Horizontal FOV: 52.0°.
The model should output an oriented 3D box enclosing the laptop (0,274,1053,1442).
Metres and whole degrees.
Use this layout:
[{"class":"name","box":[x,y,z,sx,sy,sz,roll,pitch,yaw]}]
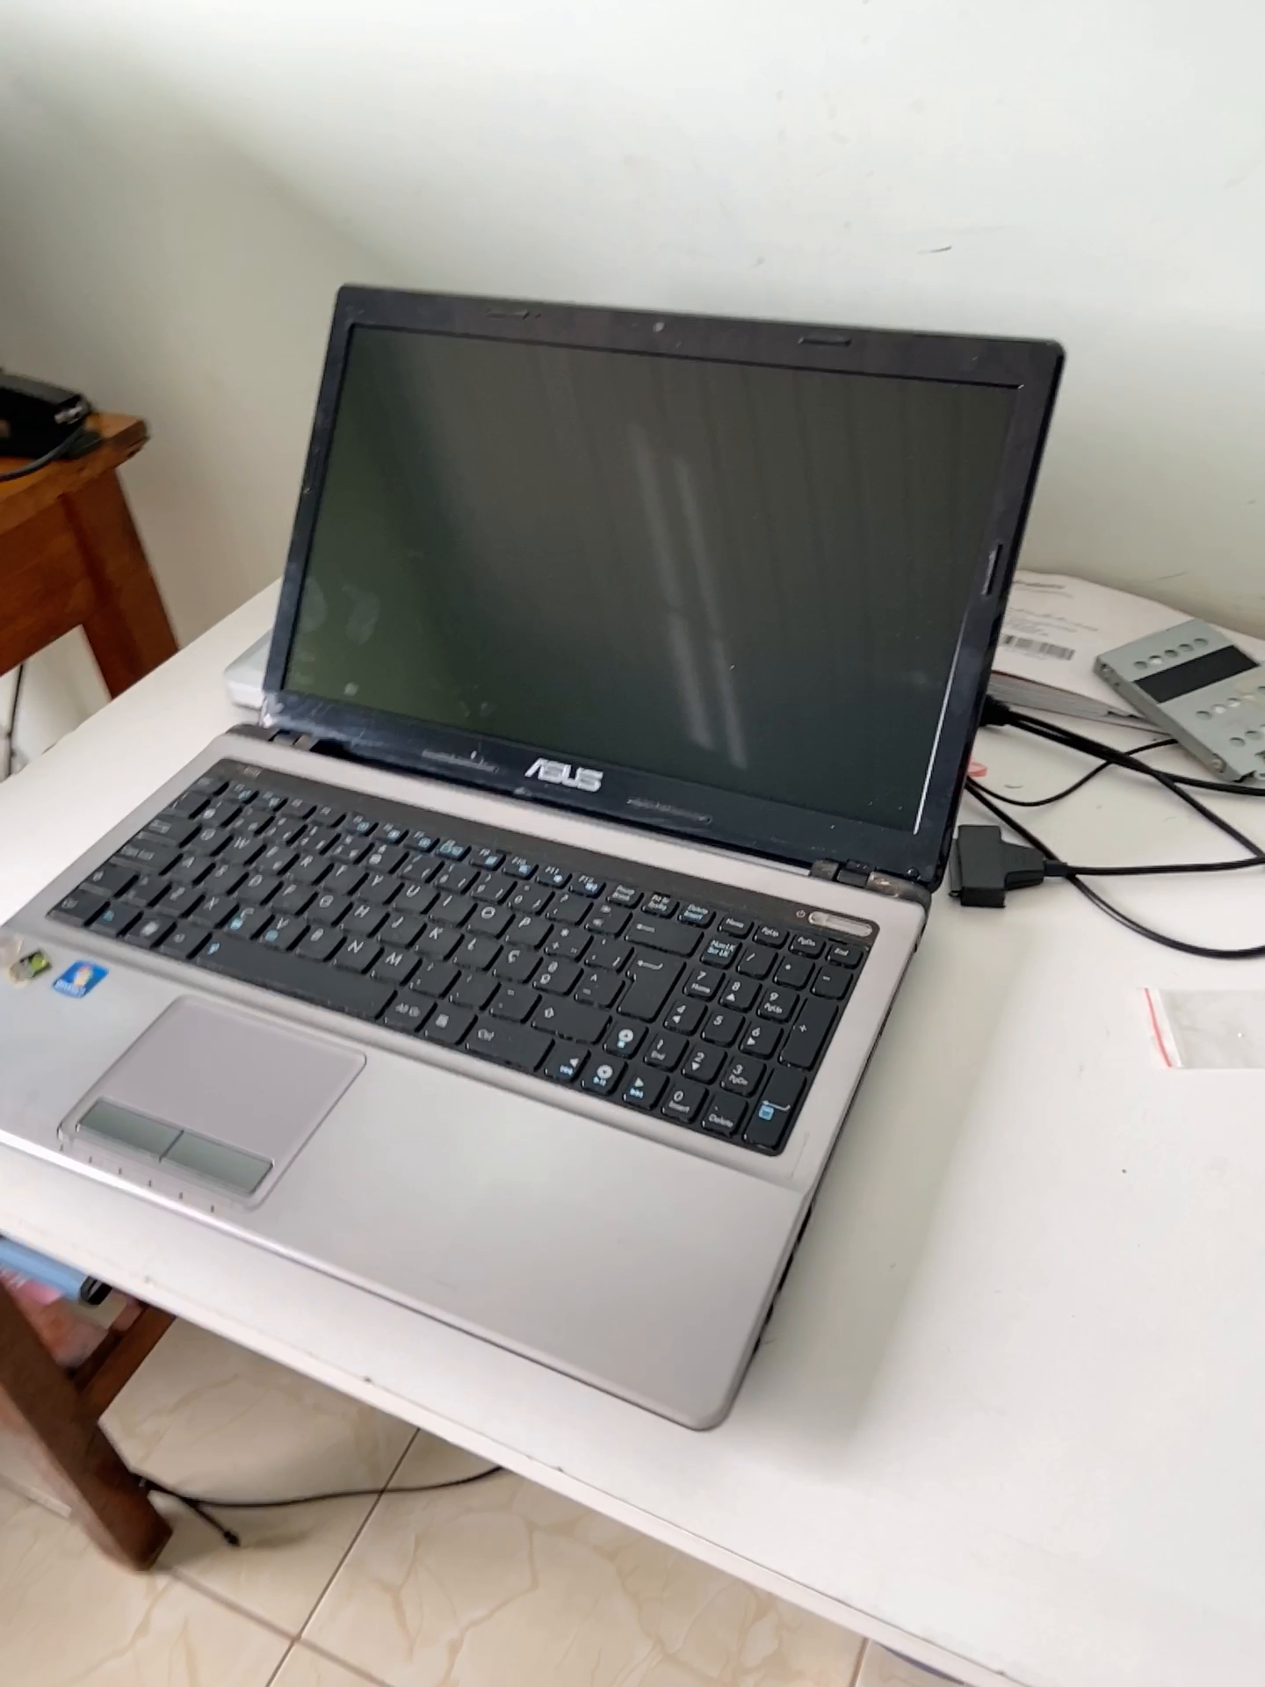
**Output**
[{"class":"laptop","box":[-0.069,-0.063,0.539,0.376,0.179,0.417,13,44,22]}]
